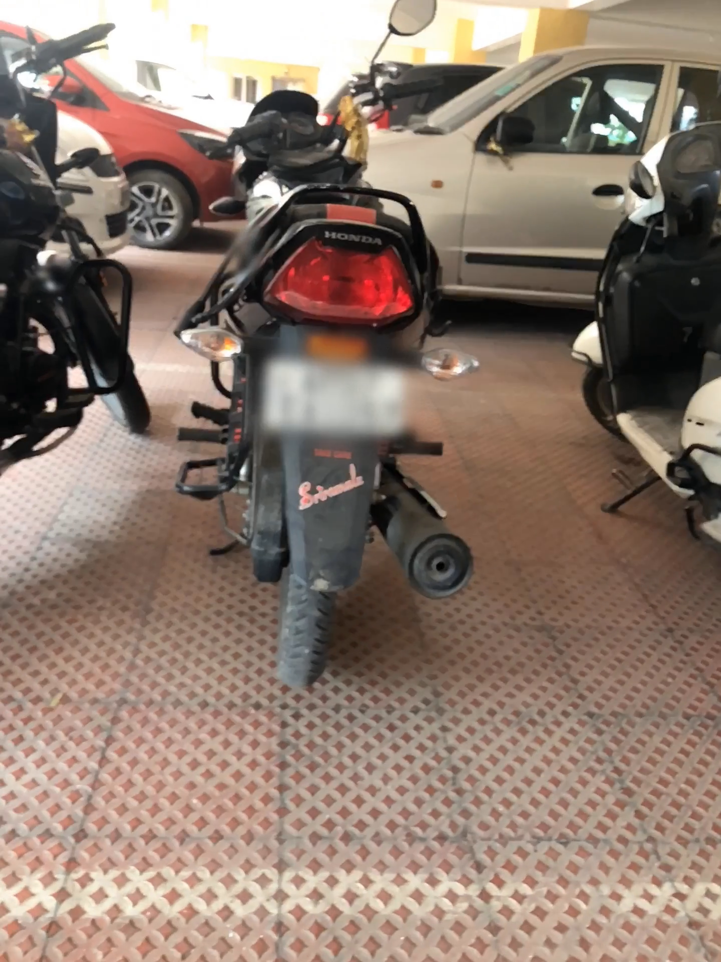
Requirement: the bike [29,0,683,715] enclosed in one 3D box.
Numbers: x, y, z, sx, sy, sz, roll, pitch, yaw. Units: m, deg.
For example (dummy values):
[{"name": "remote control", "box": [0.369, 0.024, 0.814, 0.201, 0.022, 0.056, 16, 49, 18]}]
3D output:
[{"name": "bike", "box": [-0.229, -0.414, 1.785, 0.746, 1.011, 1.561, 0, 25, -14]}]
